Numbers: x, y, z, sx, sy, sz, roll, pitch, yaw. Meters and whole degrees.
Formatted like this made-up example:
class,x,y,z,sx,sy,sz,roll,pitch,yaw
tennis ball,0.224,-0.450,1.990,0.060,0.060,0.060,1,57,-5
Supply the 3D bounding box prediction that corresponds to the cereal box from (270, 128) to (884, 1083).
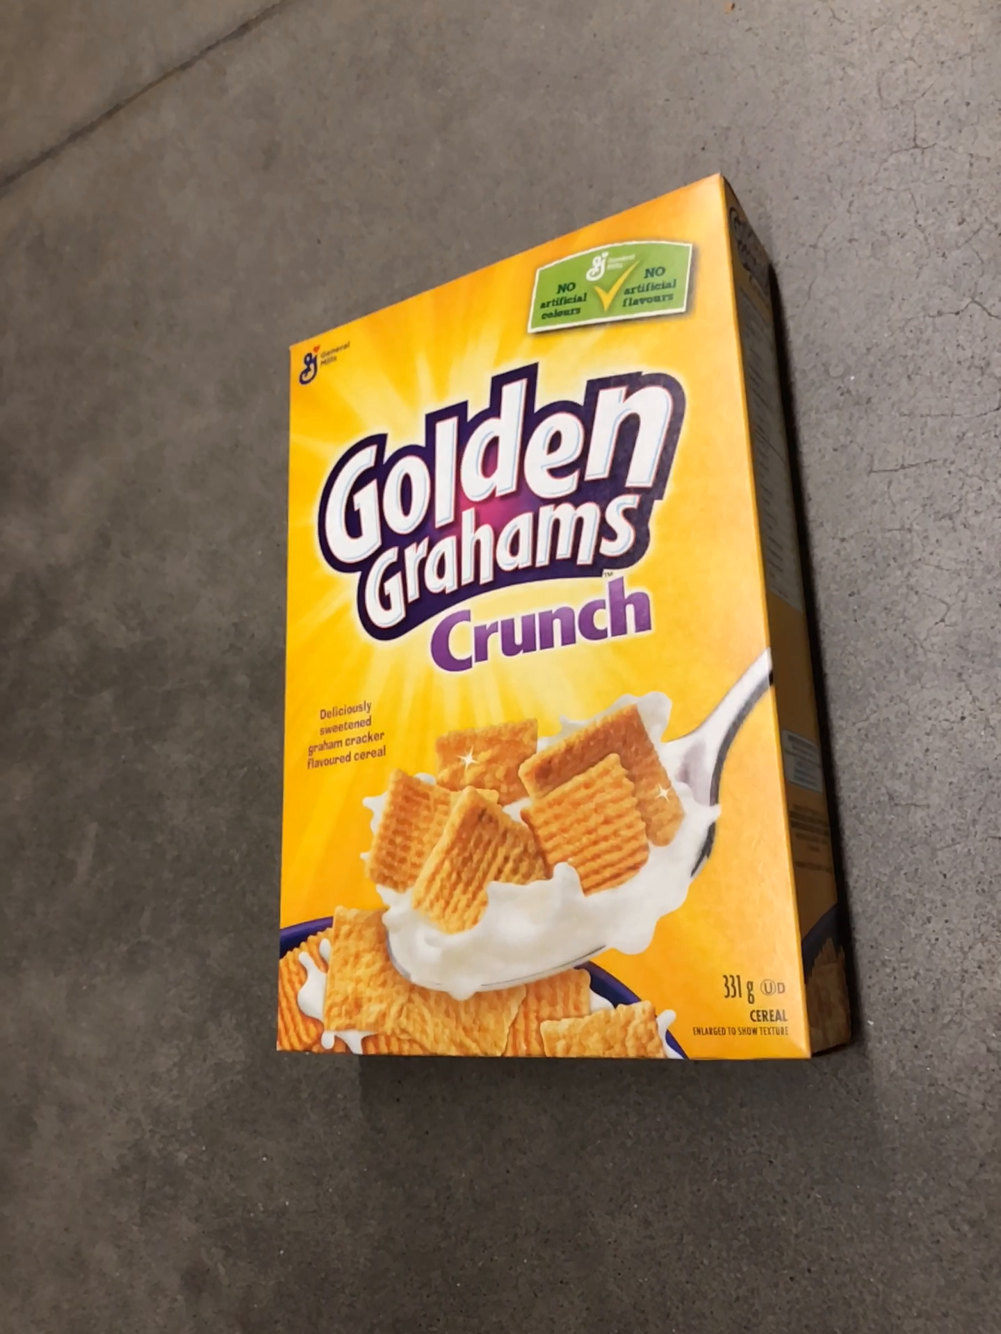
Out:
class,x,y,z,sx,sy,sz,roll,pitch,yaw
cereal box,0.013,-0.012,0.413,0.201,0.070,0.300,-11,73,32
